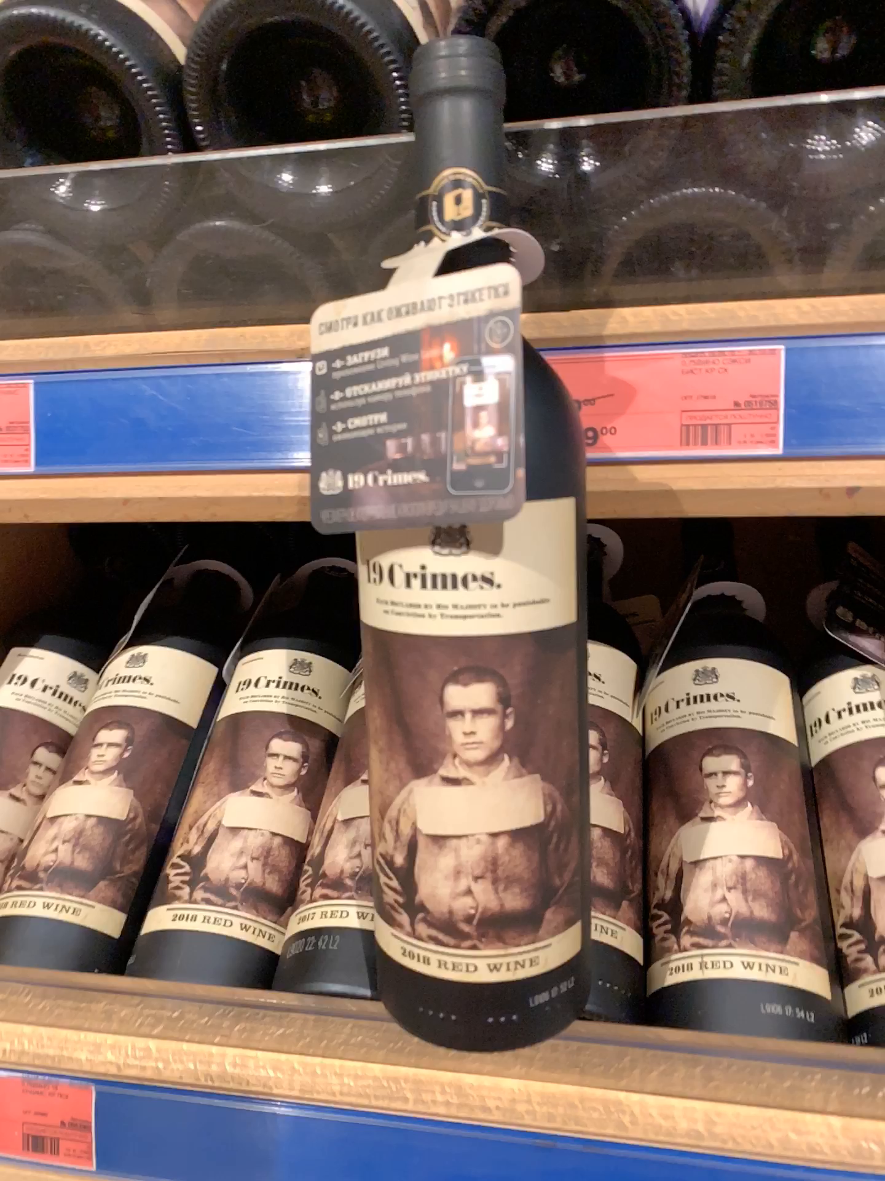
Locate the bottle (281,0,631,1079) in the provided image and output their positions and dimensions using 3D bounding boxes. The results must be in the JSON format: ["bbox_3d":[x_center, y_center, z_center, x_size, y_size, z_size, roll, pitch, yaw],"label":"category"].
[{"bbox_3d":[0.010,-0.011,0.290,0.086,0.300,0.082,-1,11,0],"label":"bottle"}]
